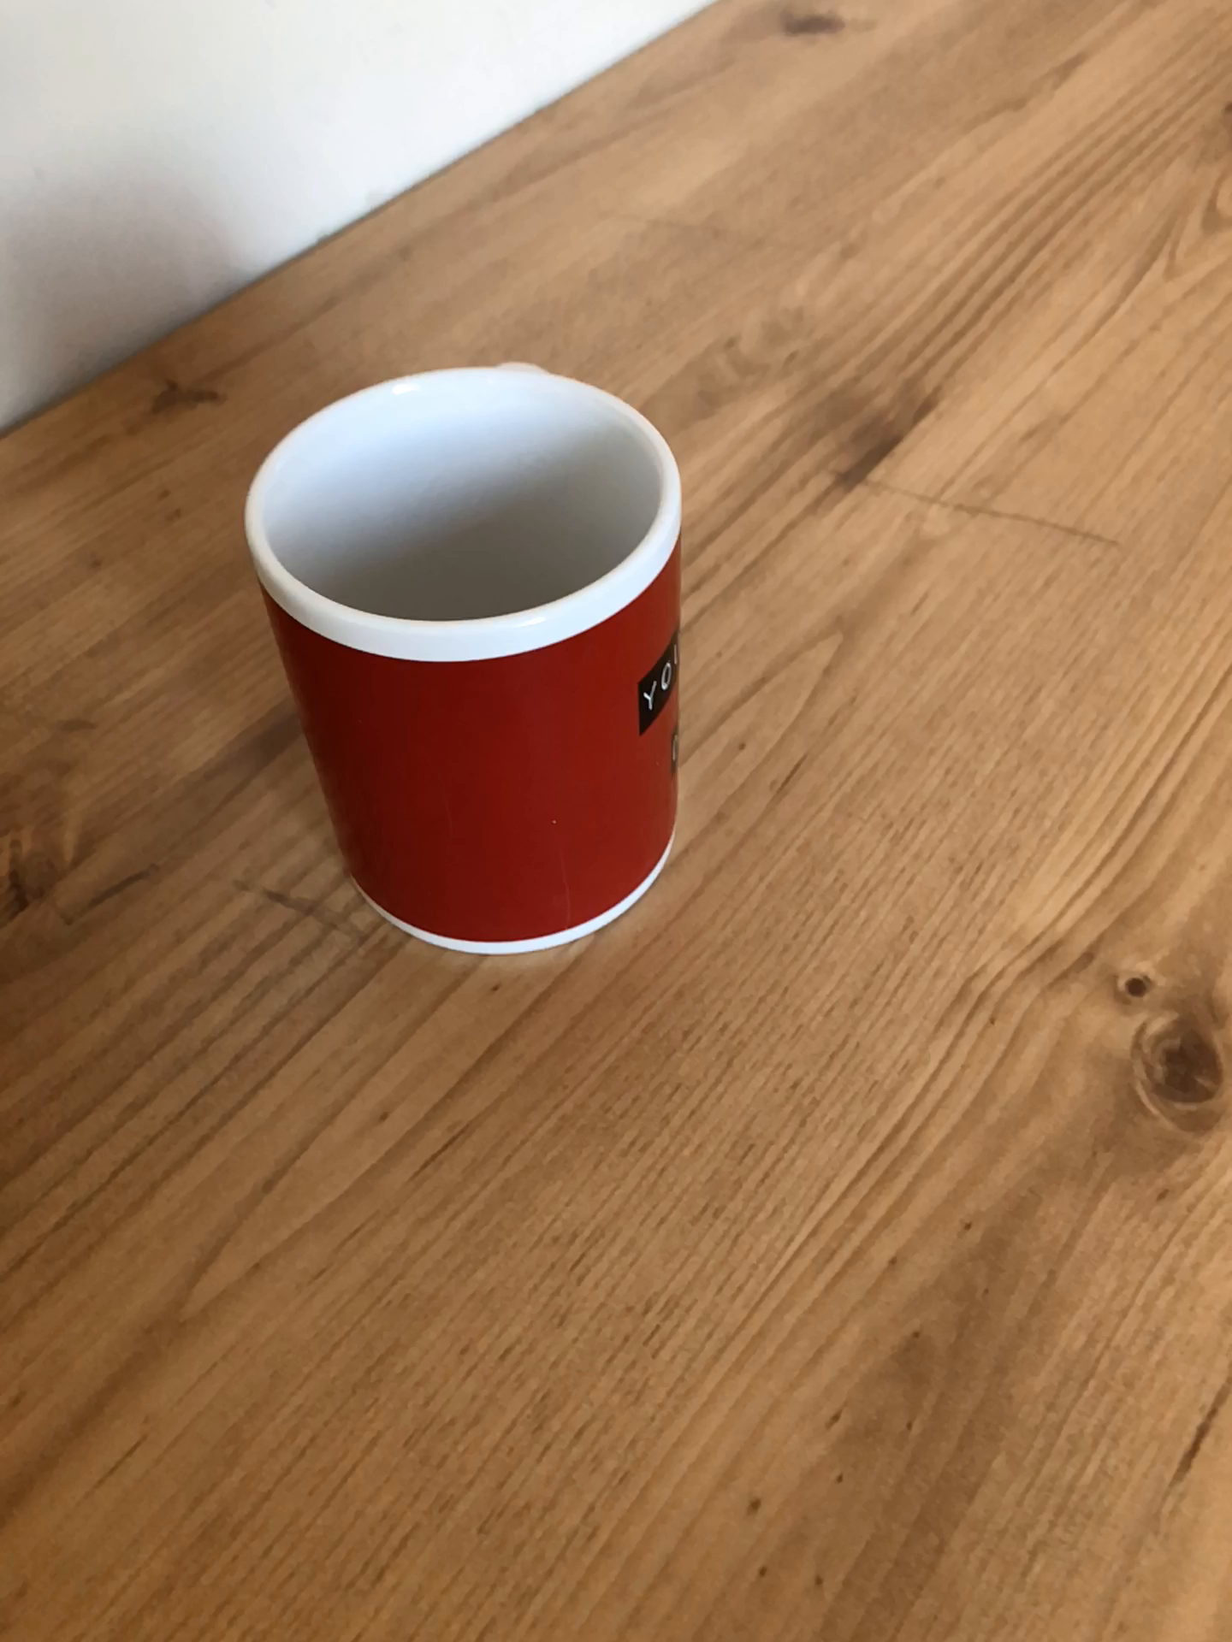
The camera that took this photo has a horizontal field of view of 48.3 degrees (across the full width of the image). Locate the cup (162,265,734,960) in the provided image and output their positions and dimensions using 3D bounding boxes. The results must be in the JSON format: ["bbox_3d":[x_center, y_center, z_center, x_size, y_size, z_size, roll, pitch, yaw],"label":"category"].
[{"bbox_3d":[-0.023,-0.048,0.296,0.091,0.086,0.124,2,50,5],"label":"cup"}]
